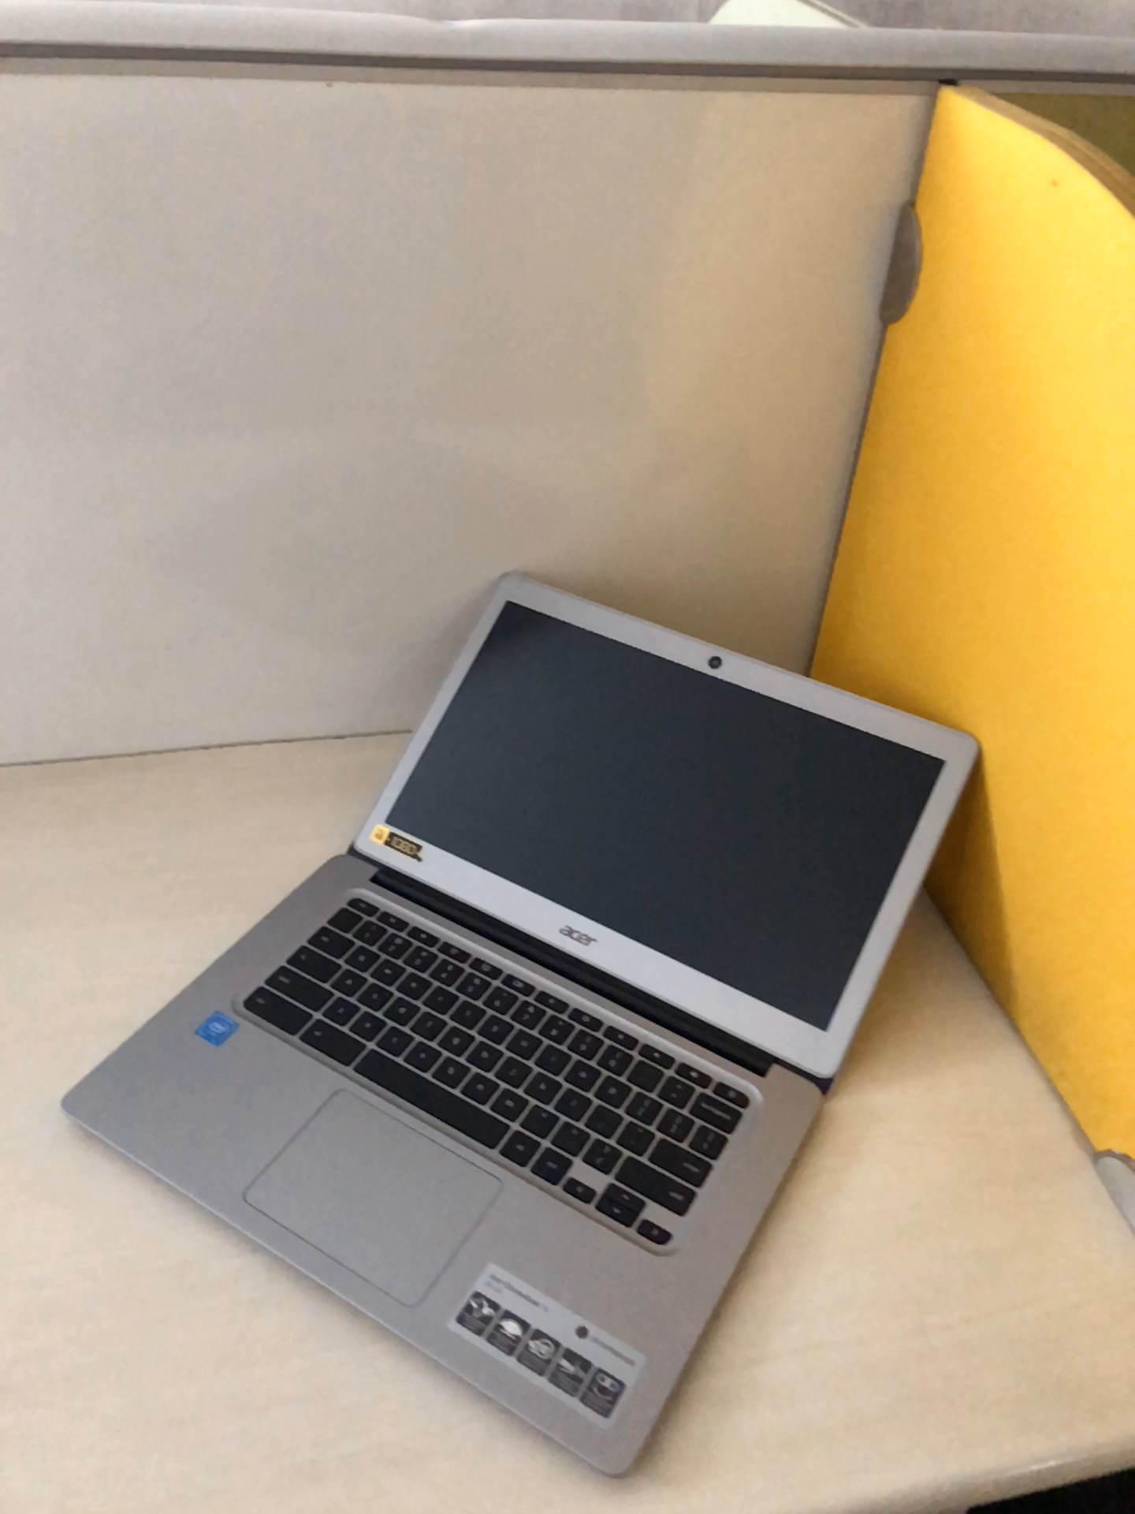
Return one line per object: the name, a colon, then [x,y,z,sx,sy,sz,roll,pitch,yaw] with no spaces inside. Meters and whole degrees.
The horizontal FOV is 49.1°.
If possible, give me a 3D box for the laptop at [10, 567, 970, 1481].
laptop: [-0.014,0.087,0.678,0.320,0.123,0.411,23,44,22]
